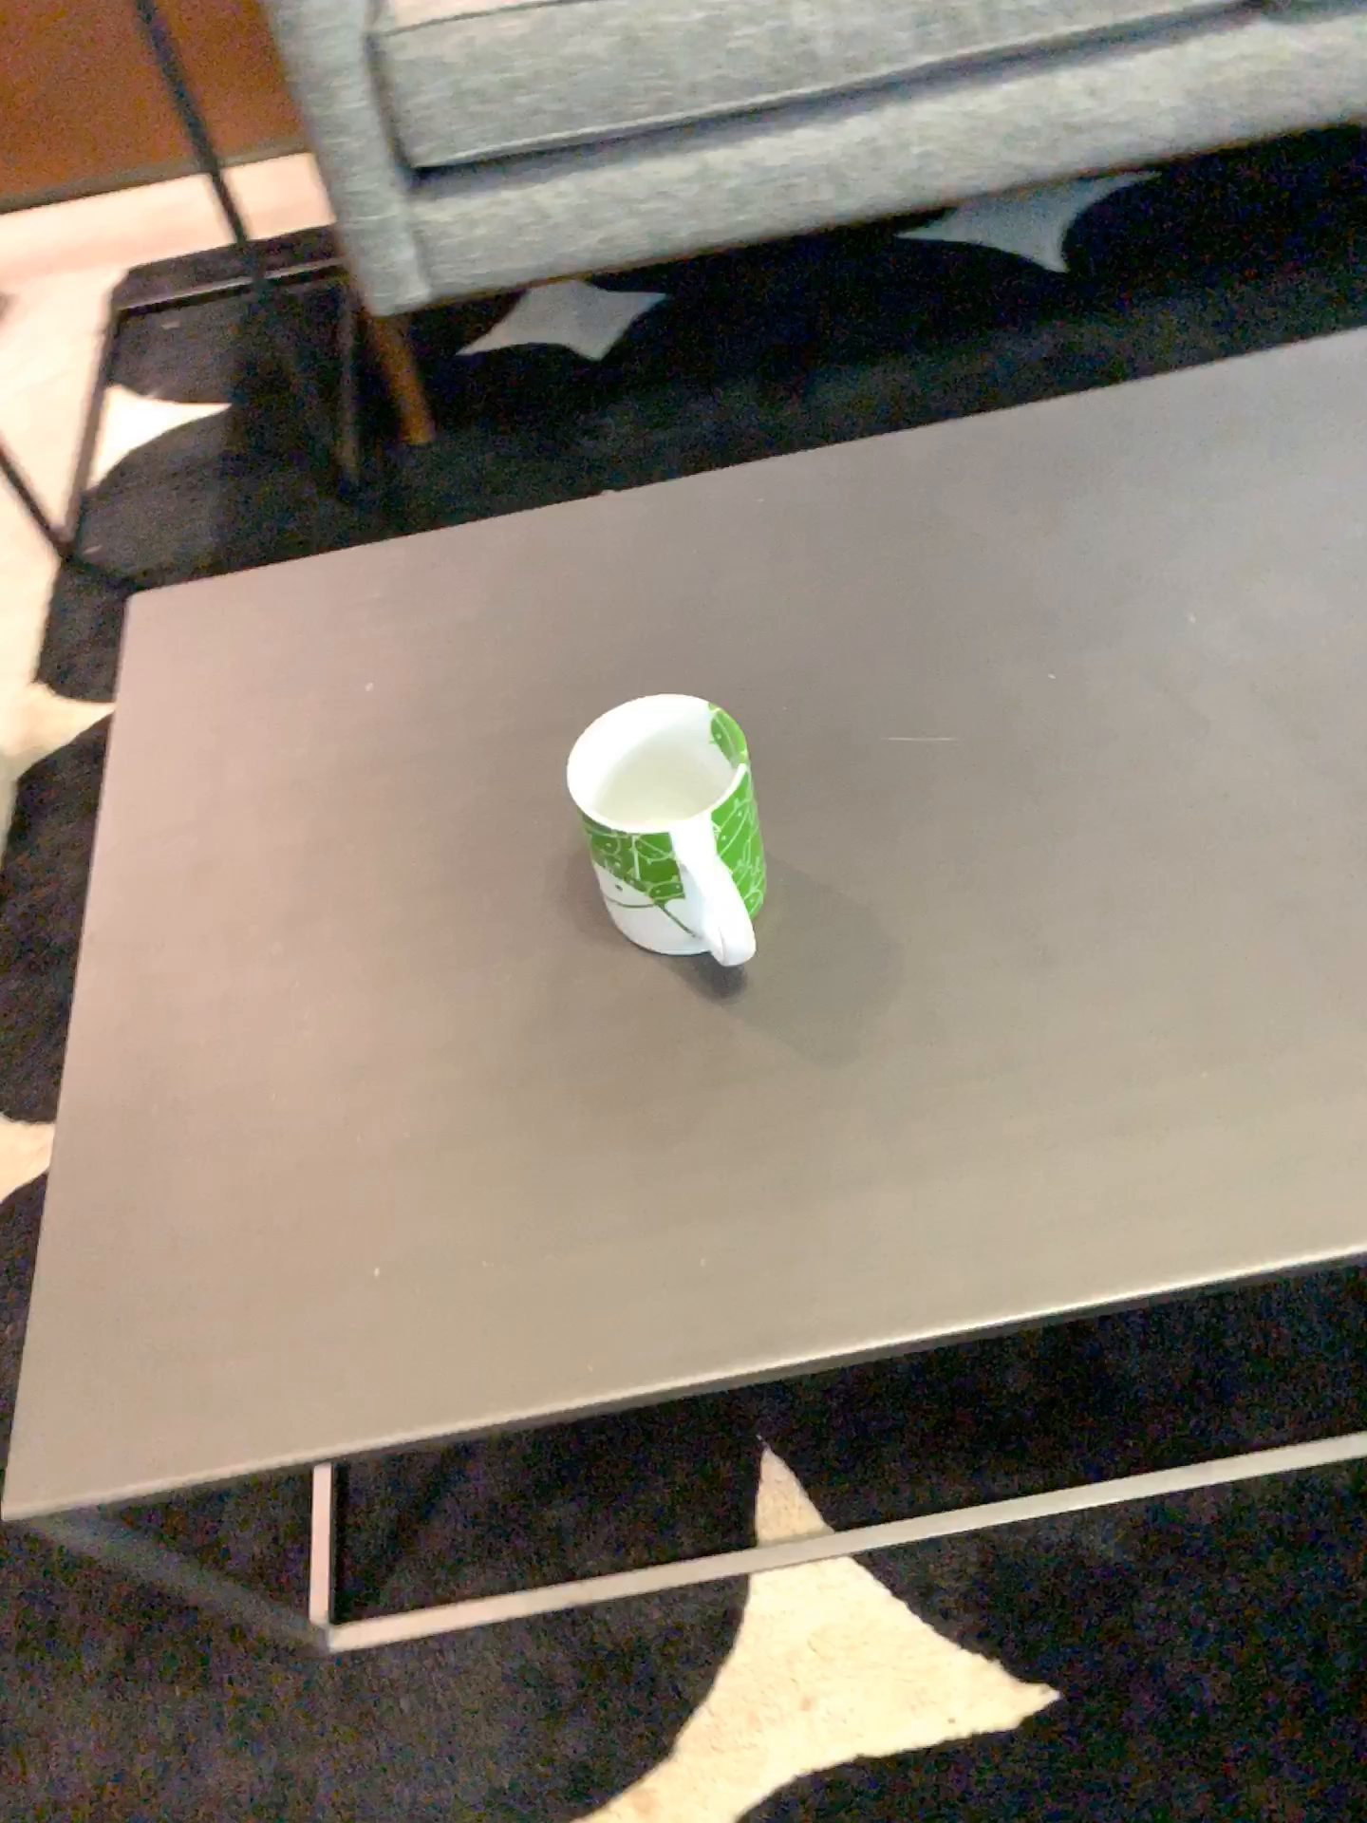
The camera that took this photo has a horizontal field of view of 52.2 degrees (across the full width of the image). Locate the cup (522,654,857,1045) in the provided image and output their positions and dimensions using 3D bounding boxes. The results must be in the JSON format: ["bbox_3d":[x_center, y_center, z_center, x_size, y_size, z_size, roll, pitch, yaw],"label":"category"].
[{"bbox_3d":[0.004,-0.029,0.633,0.100,0.090,0.120,-25,54,-8],"label":"cup"}]
